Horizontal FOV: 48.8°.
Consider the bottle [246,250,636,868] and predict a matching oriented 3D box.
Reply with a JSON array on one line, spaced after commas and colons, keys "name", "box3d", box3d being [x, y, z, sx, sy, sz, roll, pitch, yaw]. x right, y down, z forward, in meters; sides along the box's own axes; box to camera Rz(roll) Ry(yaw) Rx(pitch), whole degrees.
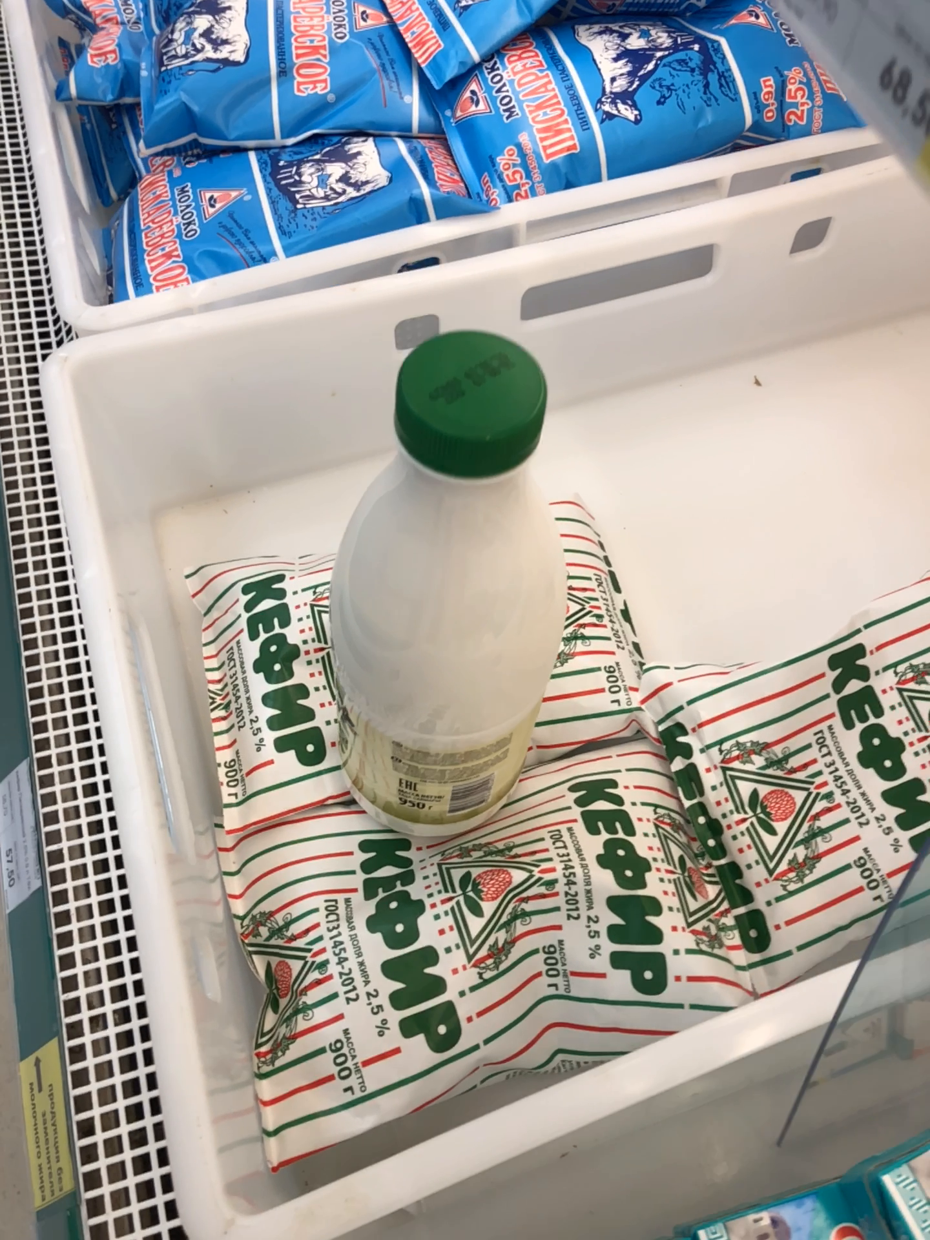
[{"name": "bottle", "box3d": [-0.007, 0.006, 0.376, 0.090, 0.269, 0.090, 0, 60, 0]}]
